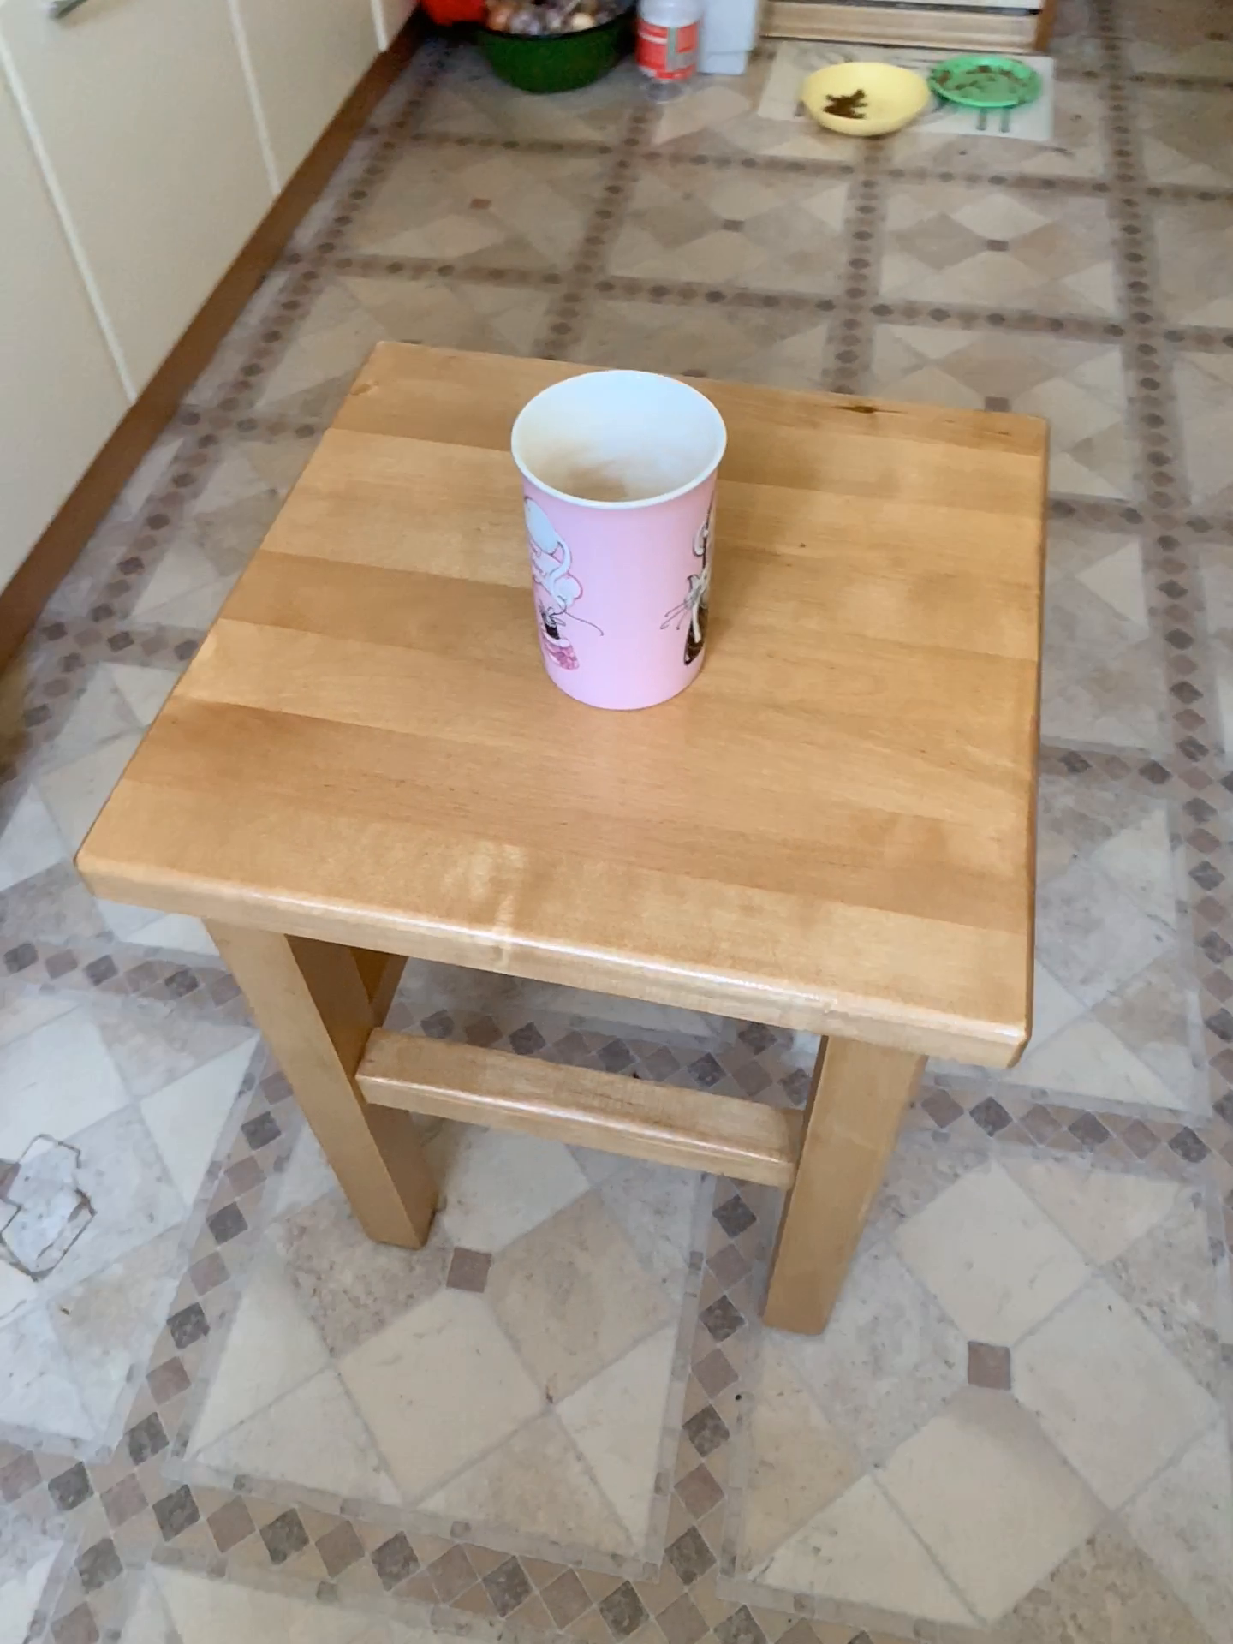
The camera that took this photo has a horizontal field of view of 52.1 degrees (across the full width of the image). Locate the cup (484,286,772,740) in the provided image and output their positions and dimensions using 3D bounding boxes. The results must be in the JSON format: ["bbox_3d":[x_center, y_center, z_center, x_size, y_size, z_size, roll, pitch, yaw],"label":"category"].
[{"bbox_3d":[0.002,-0.114,0.470,0.074,0.107,0.114,-11,53,-7],"label":"cup"}]
